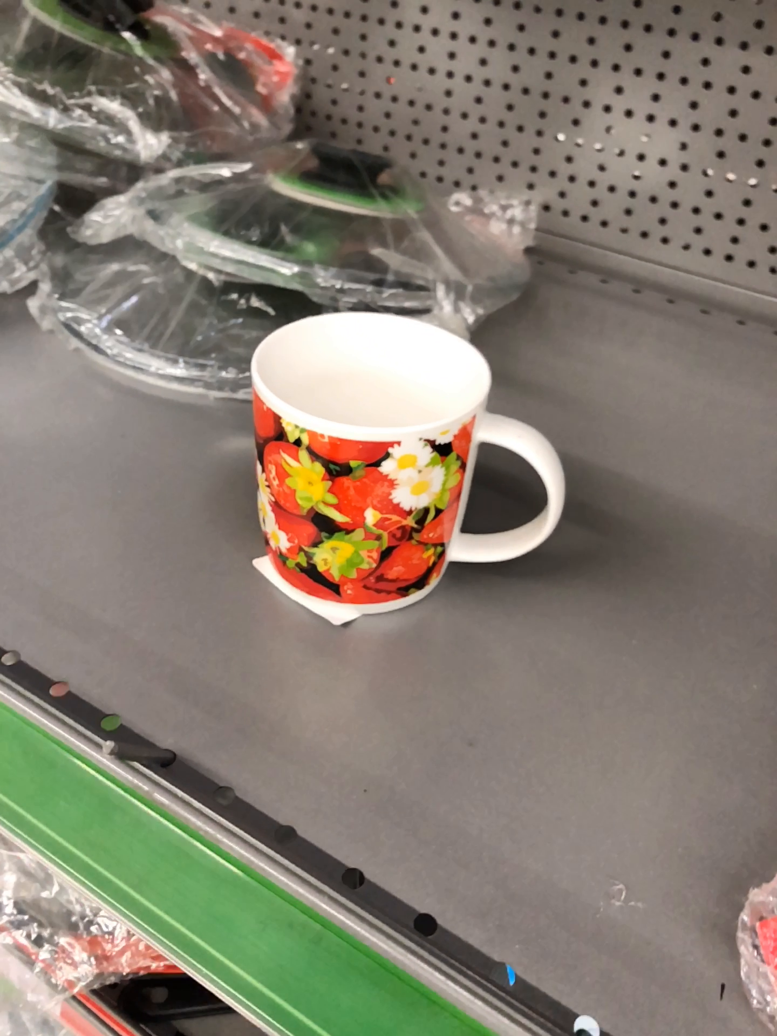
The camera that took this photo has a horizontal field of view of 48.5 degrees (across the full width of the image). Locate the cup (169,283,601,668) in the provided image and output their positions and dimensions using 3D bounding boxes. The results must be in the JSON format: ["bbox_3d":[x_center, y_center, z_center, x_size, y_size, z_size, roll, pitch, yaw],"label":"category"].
[{"bbox_3d":[0.000,-0.023,0.333,0.128,0.078,0.091,20,42,18],"label":"cup"}]
